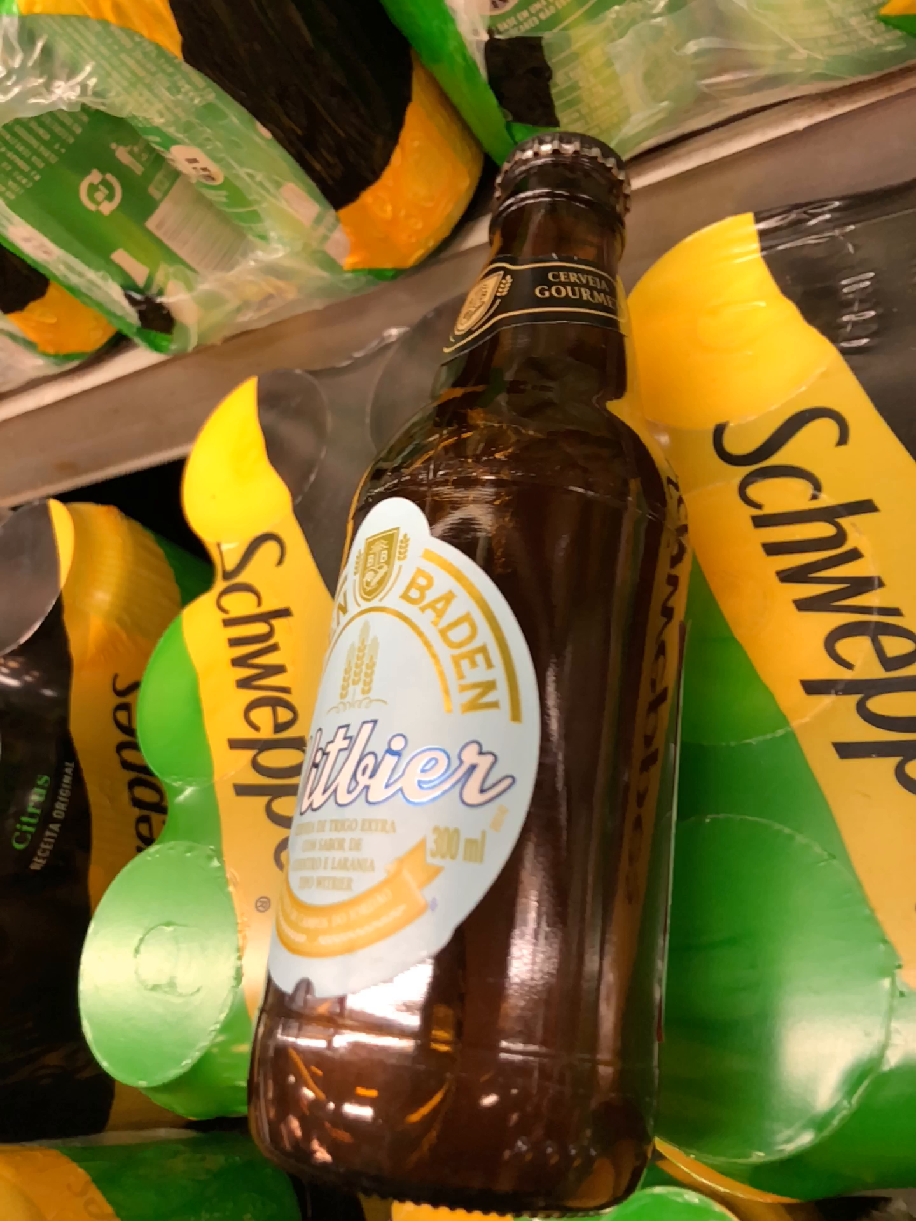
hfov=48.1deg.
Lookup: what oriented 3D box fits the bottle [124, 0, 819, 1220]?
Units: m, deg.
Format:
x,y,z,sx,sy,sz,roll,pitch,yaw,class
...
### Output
x,y,z,sx,sy,sz,roll,pitch,yaw,class
0.013,-0.018,0.168,0.070,0.060,0.200,-4,70,33,bottle
